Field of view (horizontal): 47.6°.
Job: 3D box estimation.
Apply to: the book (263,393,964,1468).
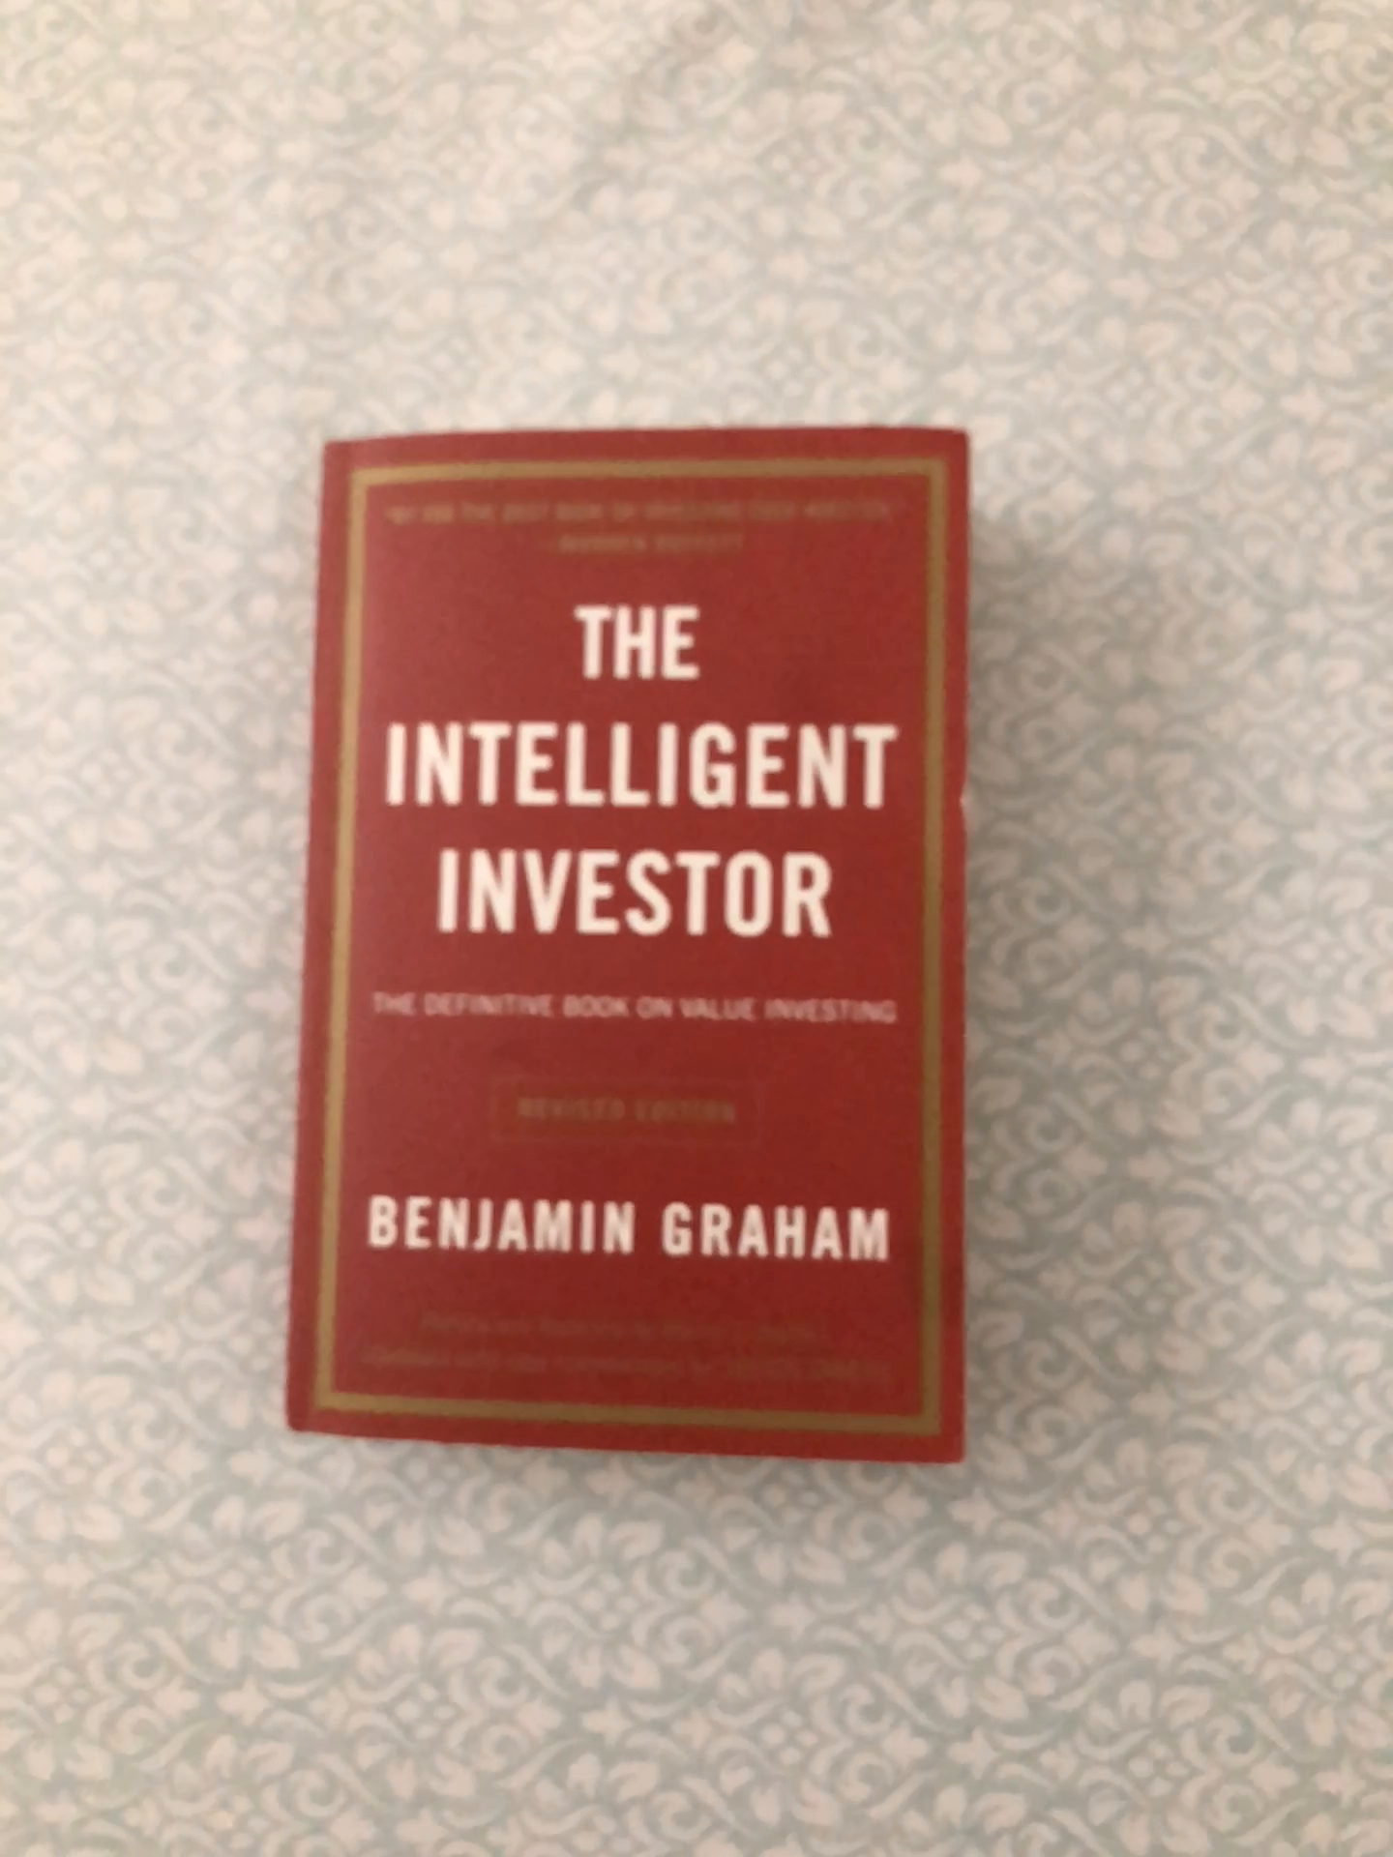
[{"bbox_3d":[-0.013,-0.001,0.324,0.130,0.050,0.200,1,86,5],"label":"book"}]
